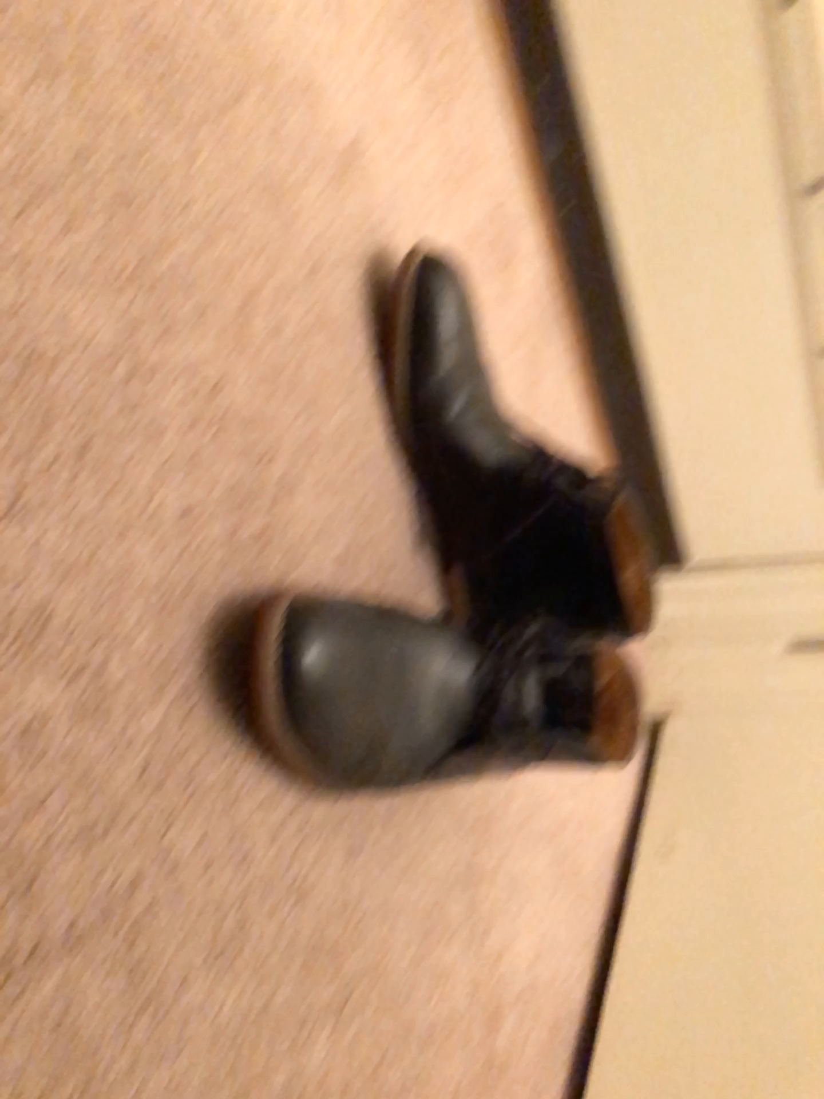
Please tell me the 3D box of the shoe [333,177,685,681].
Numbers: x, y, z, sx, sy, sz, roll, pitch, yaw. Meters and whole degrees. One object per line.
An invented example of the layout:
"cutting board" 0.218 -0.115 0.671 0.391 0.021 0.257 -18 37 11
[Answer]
"shoe" 0.081 -0.067 0.620 0.117 0.135 0.302 -56 133 -51

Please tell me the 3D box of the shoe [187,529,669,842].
"shoe" 0.036 0.082 0.506 0.304 0.135 0.116 21 67 -59
